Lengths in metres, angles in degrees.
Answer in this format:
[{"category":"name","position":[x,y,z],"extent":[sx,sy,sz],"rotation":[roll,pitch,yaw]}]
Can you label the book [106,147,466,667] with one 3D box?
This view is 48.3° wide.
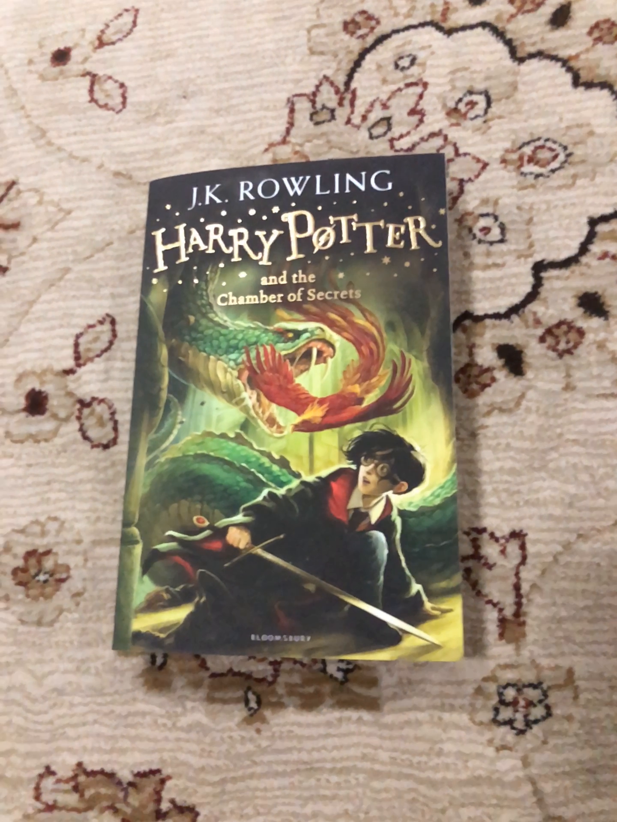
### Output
[{"category":"book","position":[-0.007,-0.005,0.283],"extent":[0.131,0.030,0.200],"rotation":[-2,75,11]}]
